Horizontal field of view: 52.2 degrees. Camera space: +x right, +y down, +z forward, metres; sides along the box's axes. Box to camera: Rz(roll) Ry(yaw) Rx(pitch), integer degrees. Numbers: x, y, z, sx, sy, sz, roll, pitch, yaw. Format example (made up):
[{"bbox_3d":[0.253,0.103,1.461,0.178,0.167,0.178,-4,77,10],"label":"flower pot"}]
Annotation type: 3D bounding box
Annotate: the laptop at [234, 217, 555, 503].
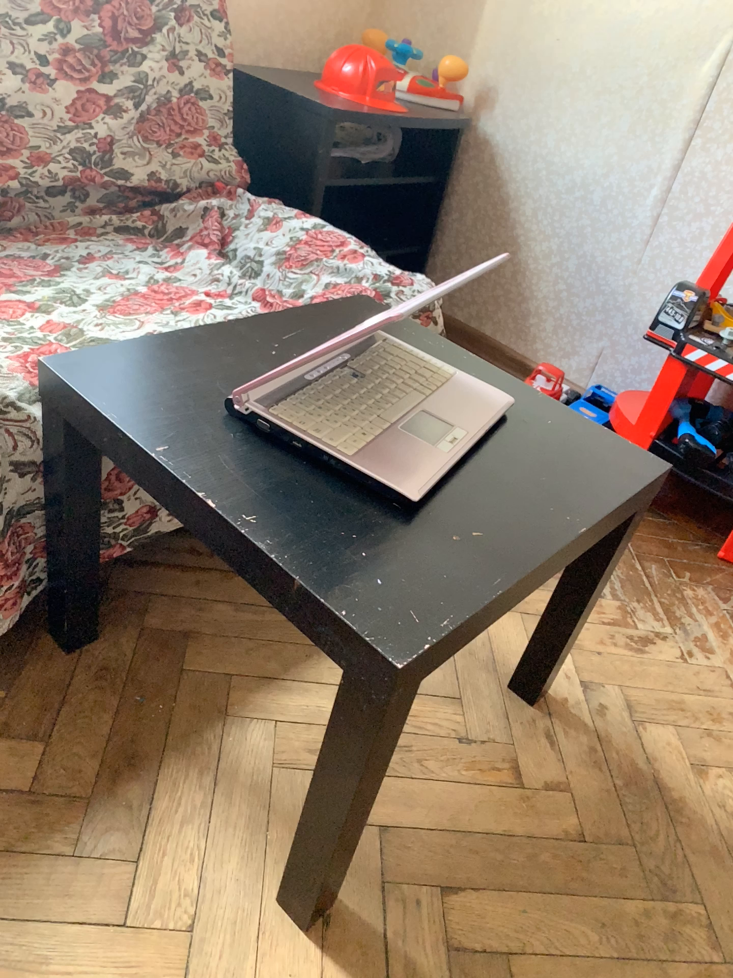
[{"bbox_3d":[0.042,-0.166,0.845,0.225,0.156,0.307,28,36,15],"label":"laptop"}]
